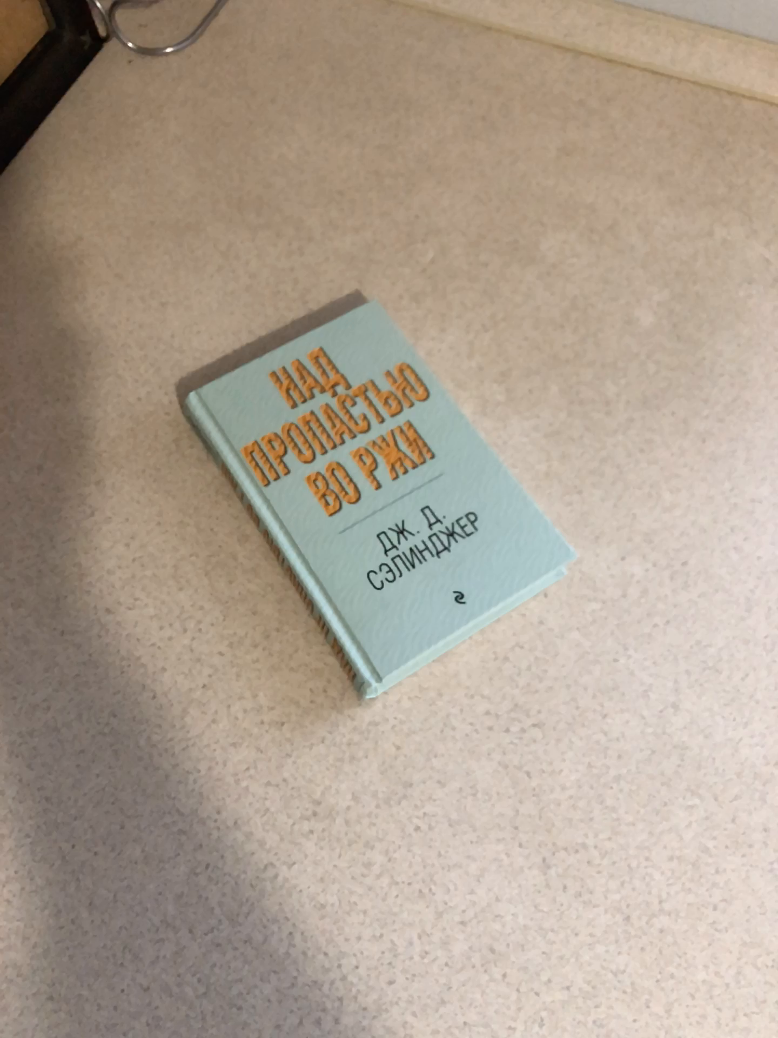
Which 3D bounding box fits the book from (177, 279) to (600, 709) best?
[{"bbox_3d":[-0.005,-0.021,0.406,0.118,0.020,0.180,-29,68,-12],"label":"book"}]
